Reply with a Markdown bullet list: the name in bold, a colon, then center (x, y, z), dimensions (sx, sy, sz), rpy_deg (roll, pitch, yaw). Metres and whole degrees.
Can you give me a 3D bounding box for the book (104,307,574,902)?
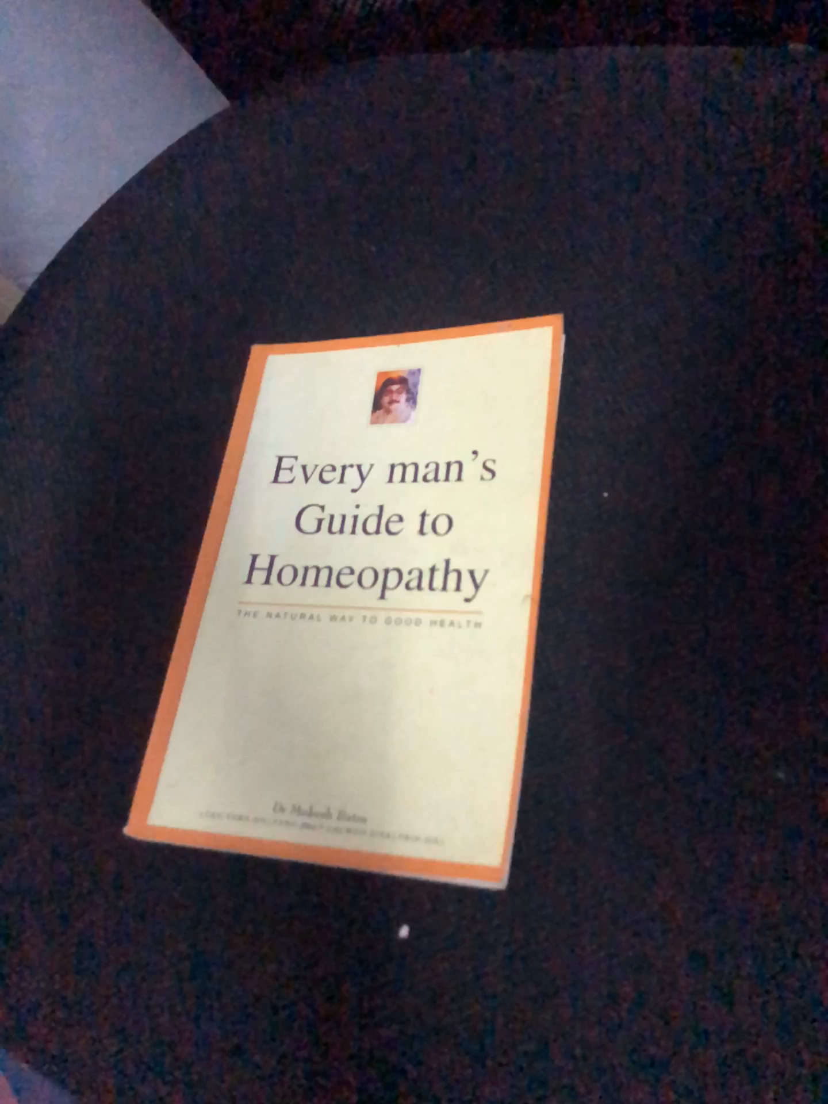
- **book**: center (-0.022, 0.009, 0.337), dimensions (0.140, 0.026, 0.207), rpy_deg (1, 67, 22)
